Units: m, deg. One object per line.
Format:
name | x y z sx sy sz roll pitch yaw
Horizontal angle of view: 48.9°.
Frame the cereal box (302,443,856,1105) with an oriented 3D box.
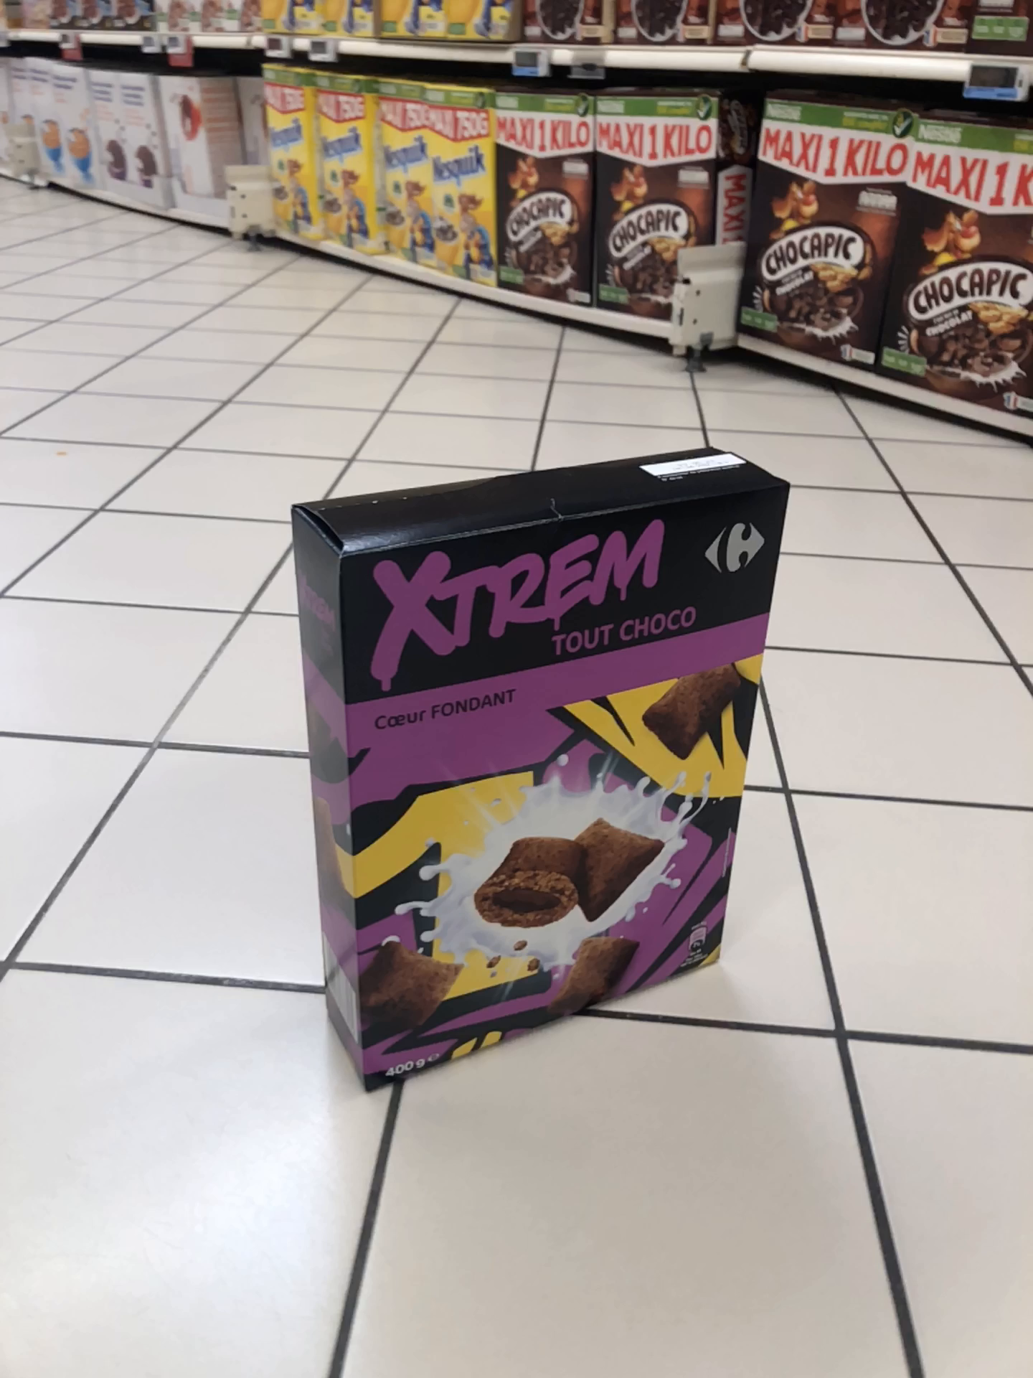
cereal box | 0.023 0.032 0.483 0.201 0.239 0.070 -12 31 -25
